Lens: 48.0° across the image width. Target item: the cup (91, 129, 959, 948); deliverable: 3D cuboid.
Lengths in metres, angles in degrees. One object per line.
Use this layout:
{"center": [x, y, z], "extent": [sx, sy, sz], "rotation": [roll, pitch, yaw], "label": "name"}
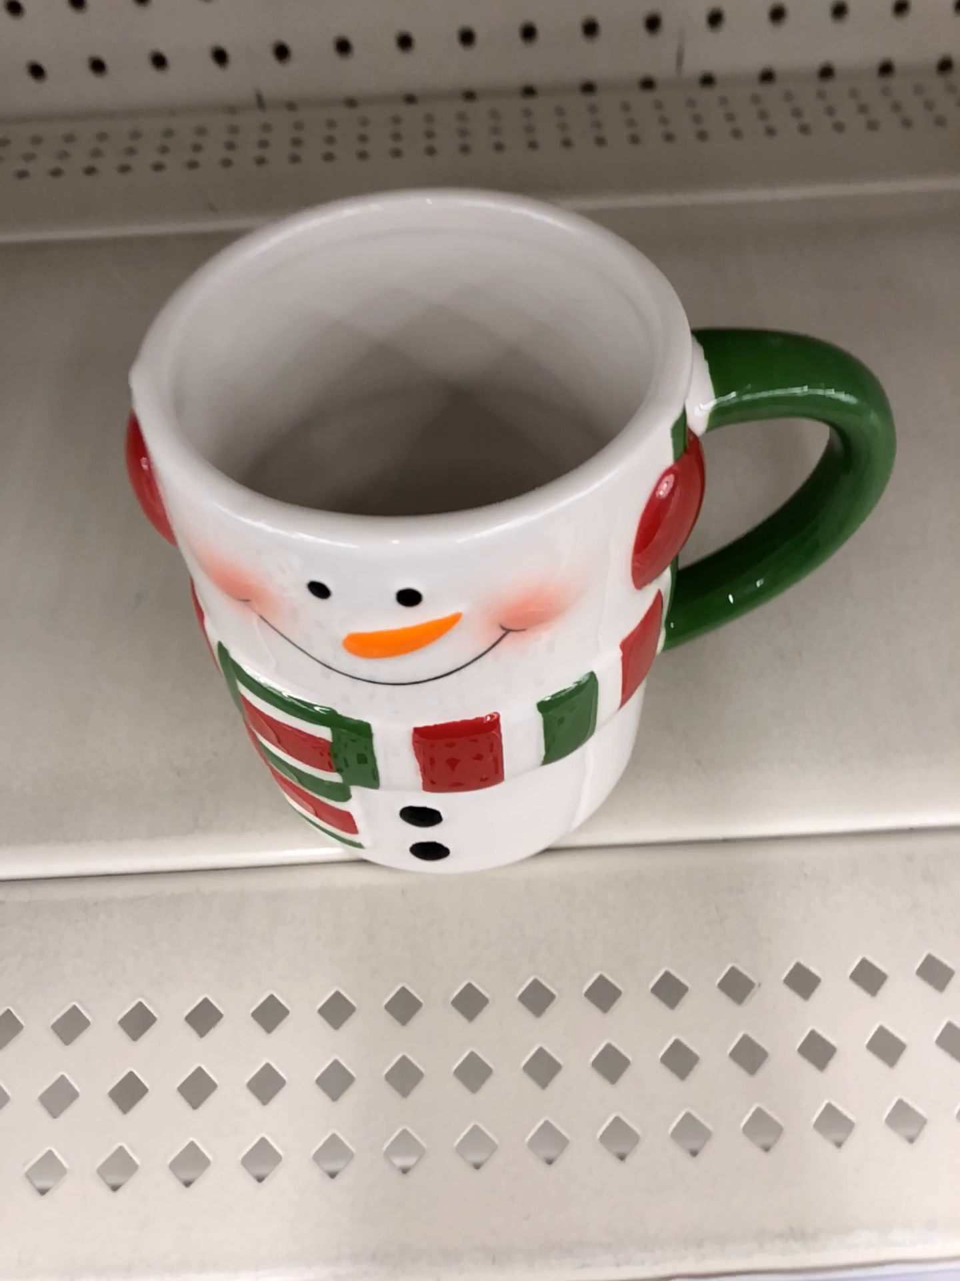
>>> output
{"center": [0.014, -0.014, 0.204], "extent": [0.130, 0.110, 0.090], "rotation": [-7, 53, -2], "label": "cup"}
